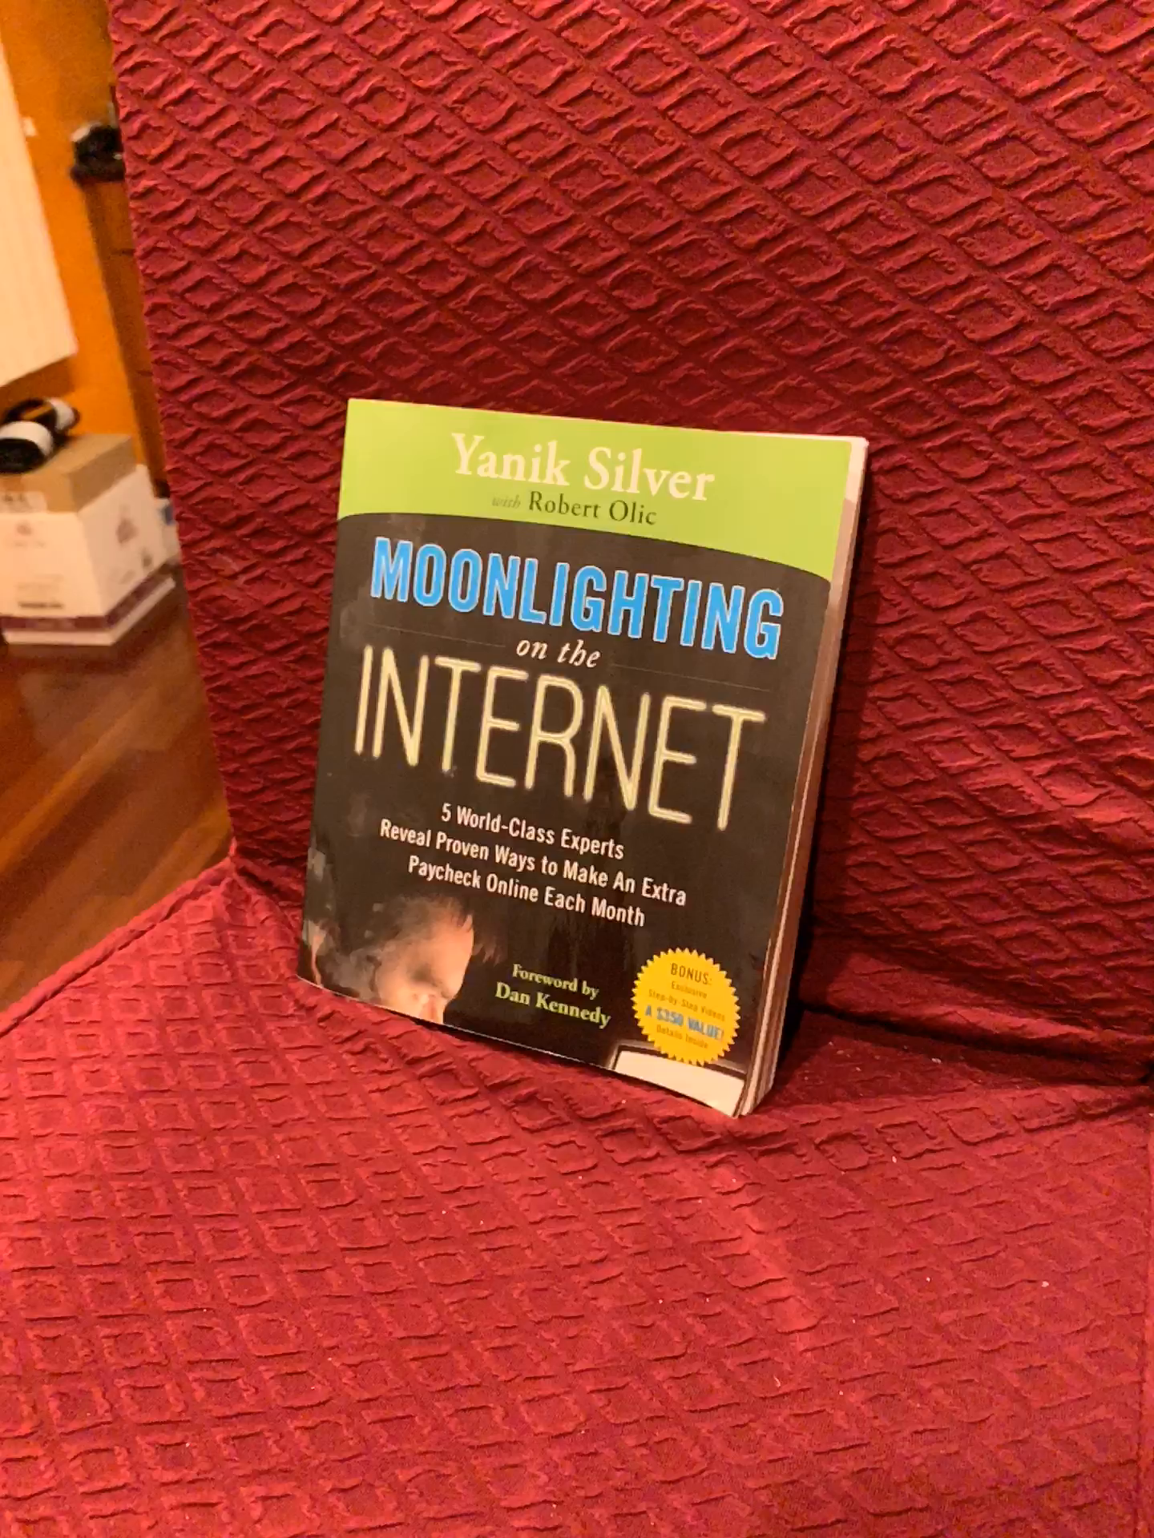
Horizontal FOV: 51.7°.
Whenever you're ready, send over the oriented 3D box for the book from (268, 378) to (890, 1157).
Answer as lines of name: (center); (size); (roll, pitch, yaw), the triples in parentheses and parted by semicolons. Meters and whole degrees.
book: (-0.010, -0.009, 0.430); (0.200, 0.239, 0.040); (11, 11, 23)
